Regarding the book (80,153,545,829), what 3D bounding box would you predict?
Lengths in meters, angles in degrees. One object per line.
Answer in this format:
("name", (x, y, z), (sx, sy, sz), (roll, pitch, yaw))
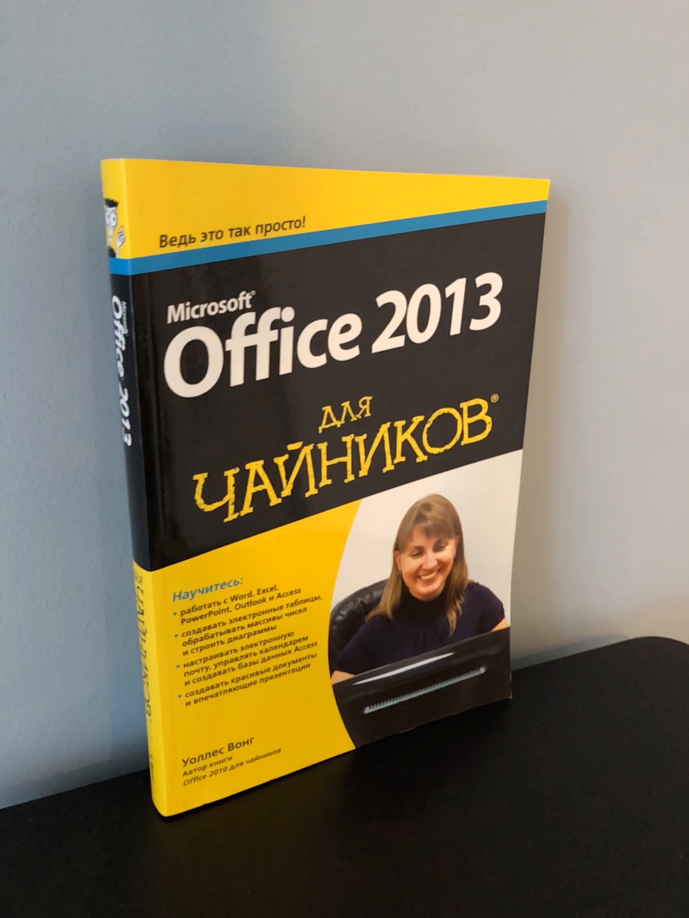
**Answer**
("book", (-0.004, 0.010, 0.299), (0.165, 0.233, 0.031), (-9, 20, -28))
